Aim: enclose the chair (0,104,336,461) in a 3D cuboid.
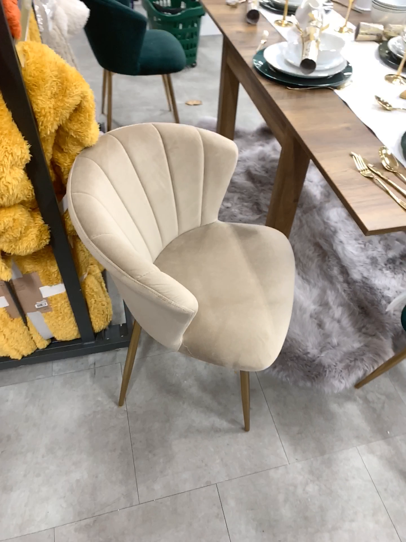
[{"bbox_3d":[-0.028,0.042,1.111,0.572,0.666,0.566,10,48,6],"label":"chair"}]
